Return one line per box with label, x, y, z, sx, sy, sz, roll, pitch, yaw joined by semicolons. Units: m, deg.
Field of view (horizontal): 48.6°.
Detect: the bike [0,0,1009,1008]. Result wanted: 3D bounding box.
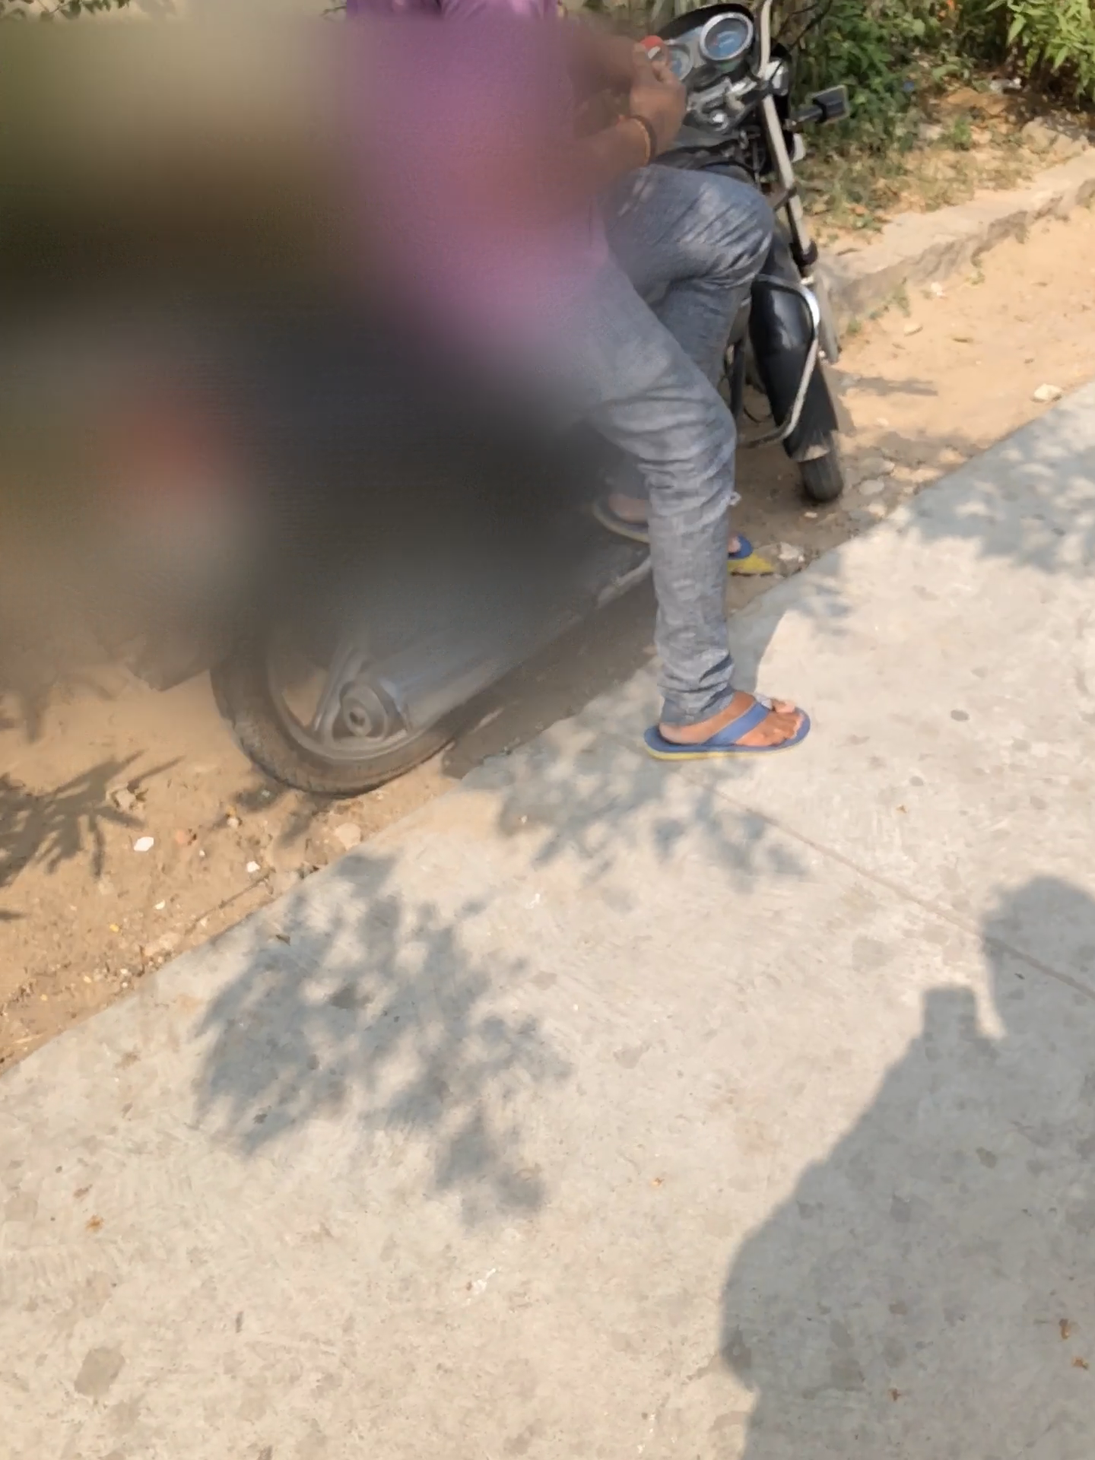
bike;0.004;-0.740;2.211;0.770;1.294;1.769;25;51;28
